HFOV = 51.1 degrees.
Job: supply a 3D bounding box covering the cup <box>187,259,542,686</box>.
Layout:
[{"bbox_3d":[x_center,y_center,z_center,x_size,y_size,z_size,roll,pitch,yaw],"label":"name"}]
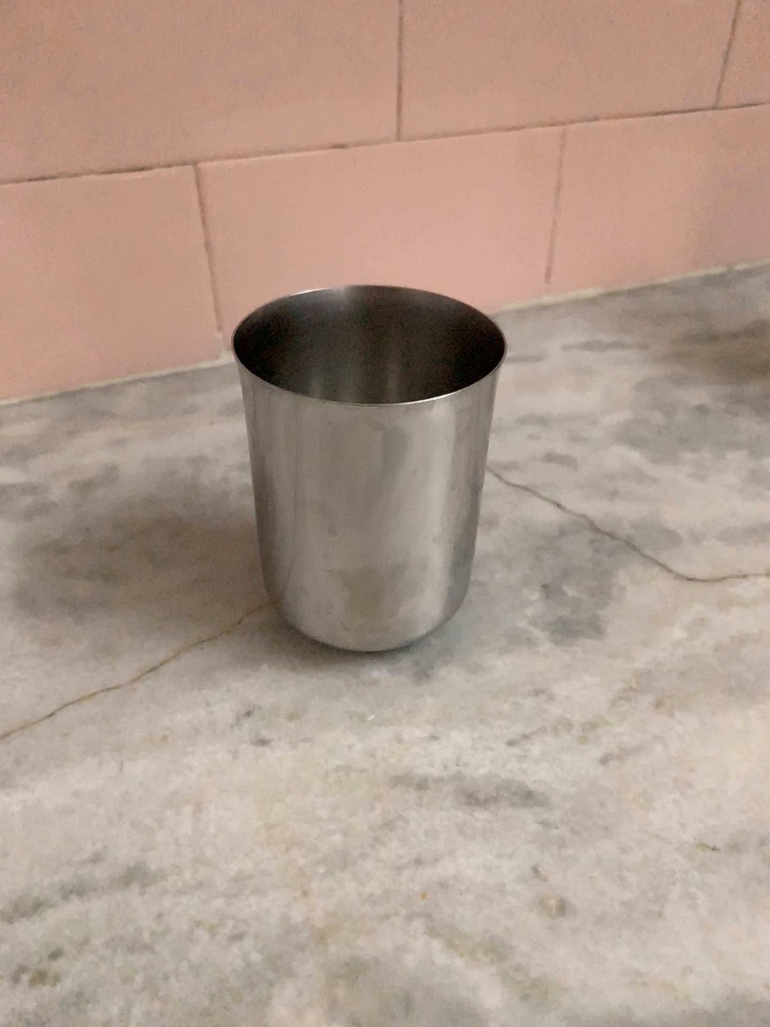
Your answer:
[{"bbox_3d":[-0.010,-0.015,0.238,0.080,0.090,0.080,0,37,0],"label":"cup"}]
